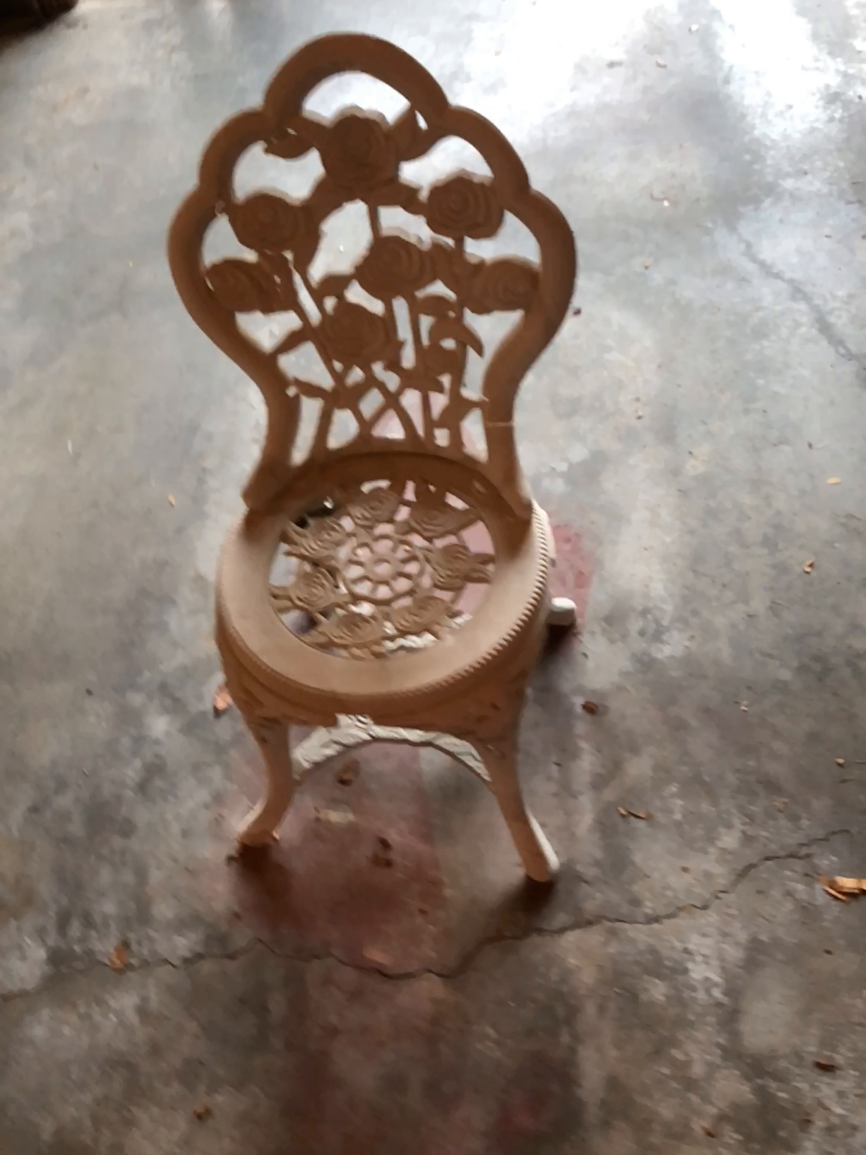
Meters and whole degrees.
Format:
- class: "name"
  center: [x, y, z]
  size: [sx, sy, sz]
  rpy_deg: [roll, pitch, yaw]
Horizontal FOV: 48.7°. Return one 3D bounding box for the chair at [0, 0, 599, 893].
- class: "chair"
  center: [-0.083, -0.054, 1.088]
  size: [0.490, 0.899, 0.500]
  rpy_deg: [3, 55, 9]
